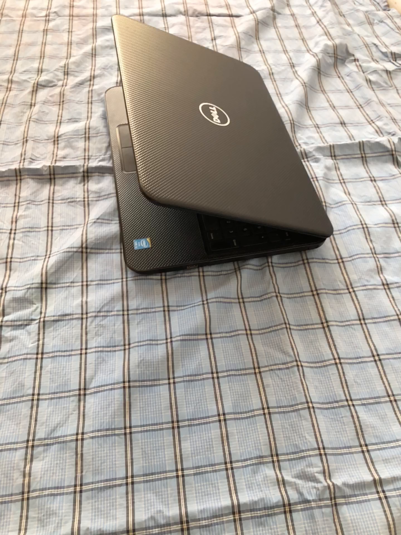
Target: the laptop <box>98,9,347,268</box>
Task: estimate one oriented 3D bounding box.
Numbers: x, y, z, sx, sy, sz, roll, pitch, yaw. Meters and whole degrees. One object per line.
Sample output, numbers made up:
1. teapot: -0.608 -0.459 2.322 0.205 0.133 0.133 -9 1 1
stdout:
1. laptop: 0.000 -0.186 0.571 0.223 0.099 0.352 -9 56 -7
